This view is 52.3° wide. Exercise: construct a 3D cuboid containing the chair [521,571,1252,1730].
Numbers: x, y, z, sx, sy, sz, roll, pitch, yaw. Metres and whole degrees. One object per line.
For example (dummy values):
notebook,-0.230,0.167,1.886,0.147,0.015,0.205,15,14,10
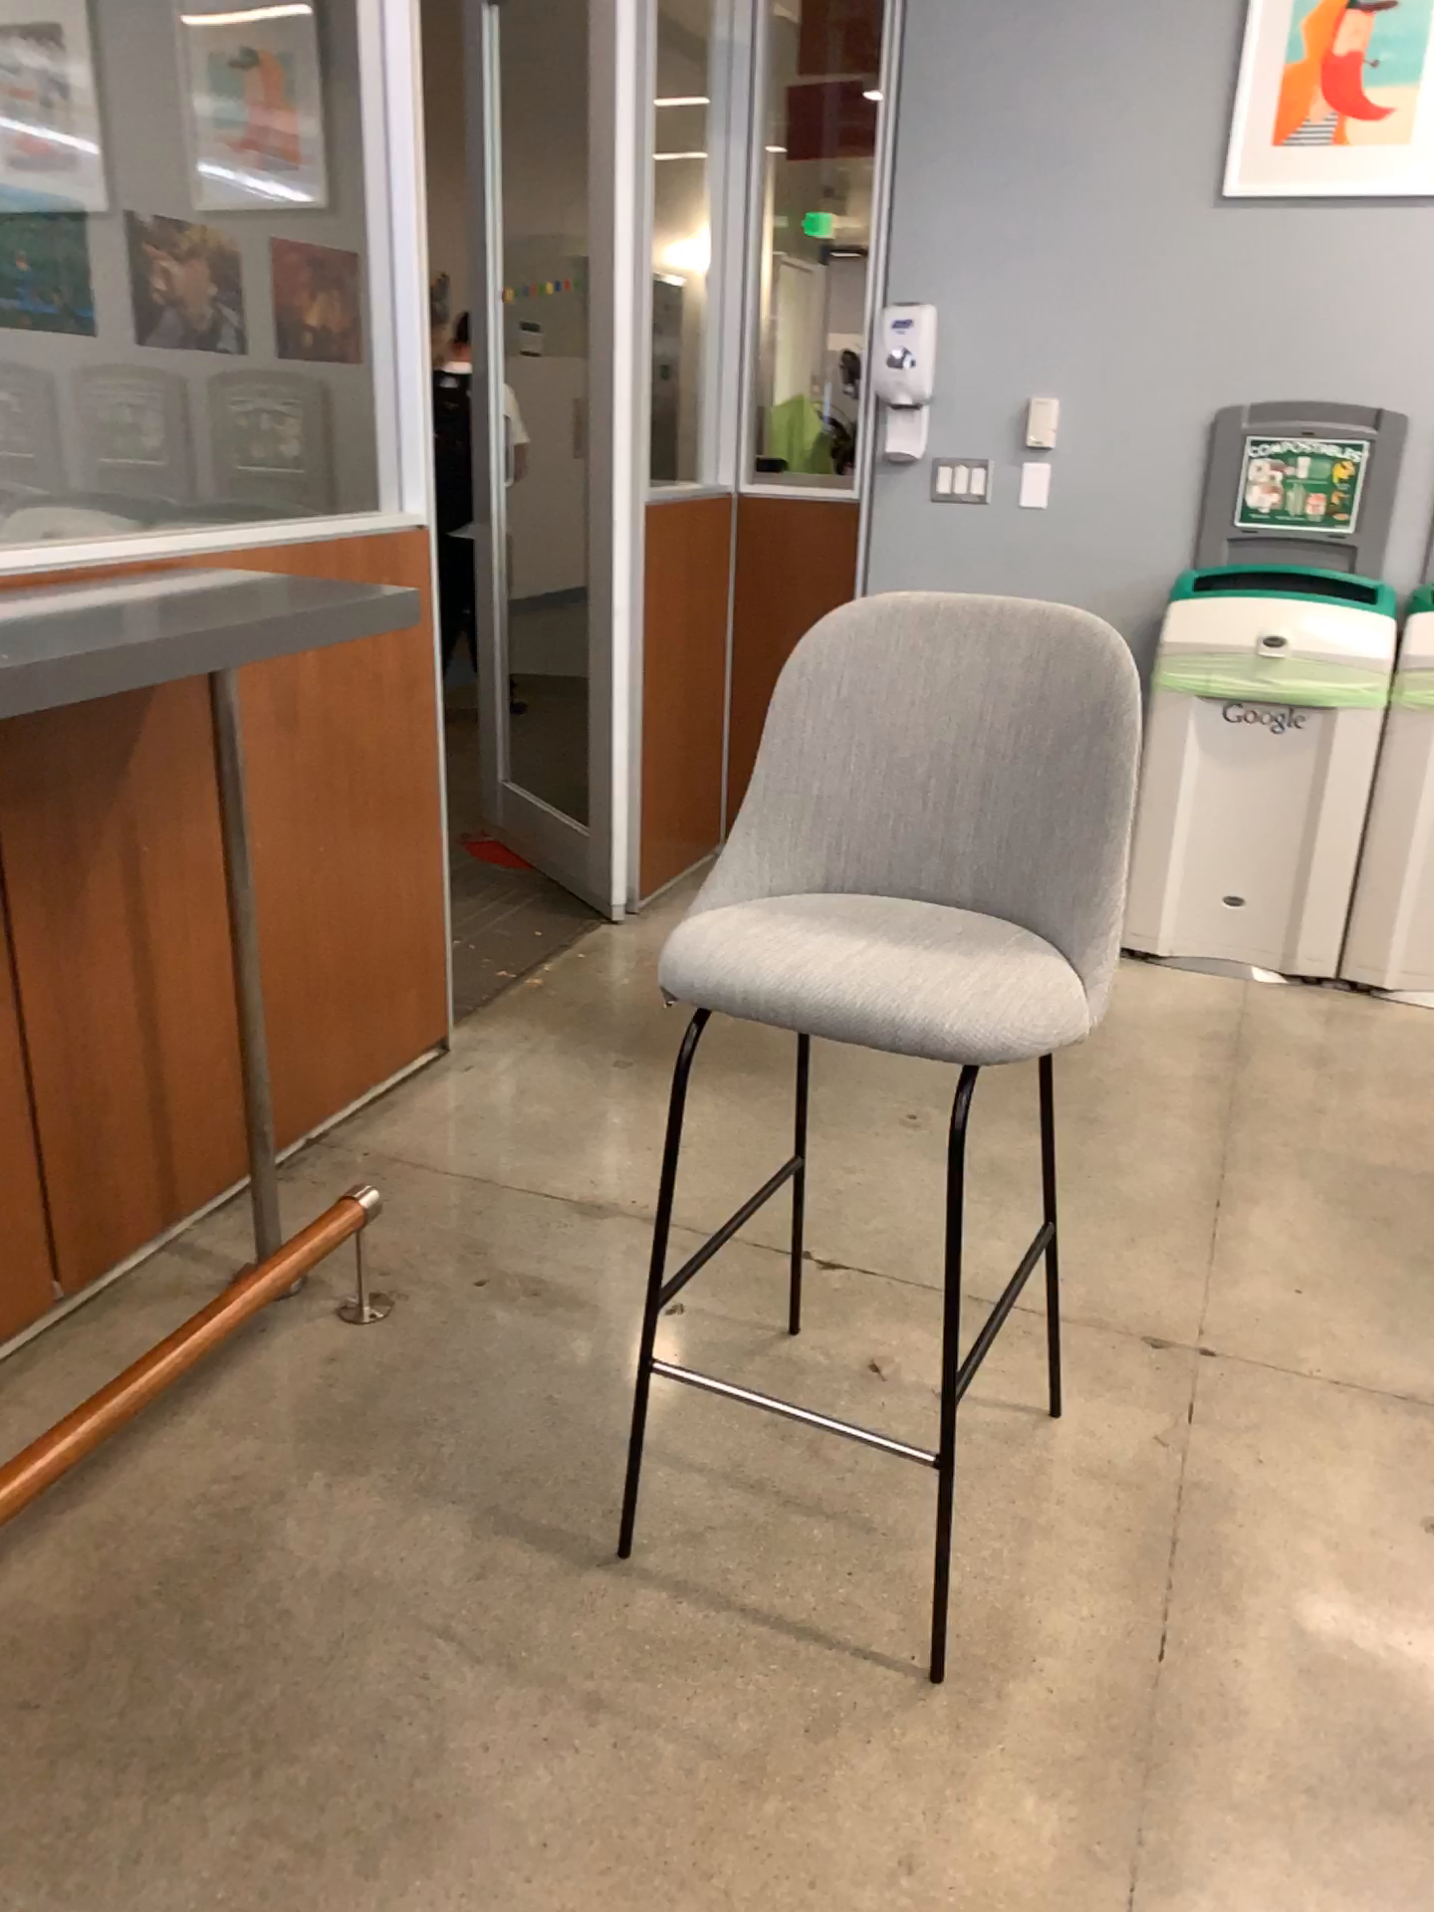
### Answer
chair,0.228,0.134,1.834,0.591,1.095,0.813,11,22,23
